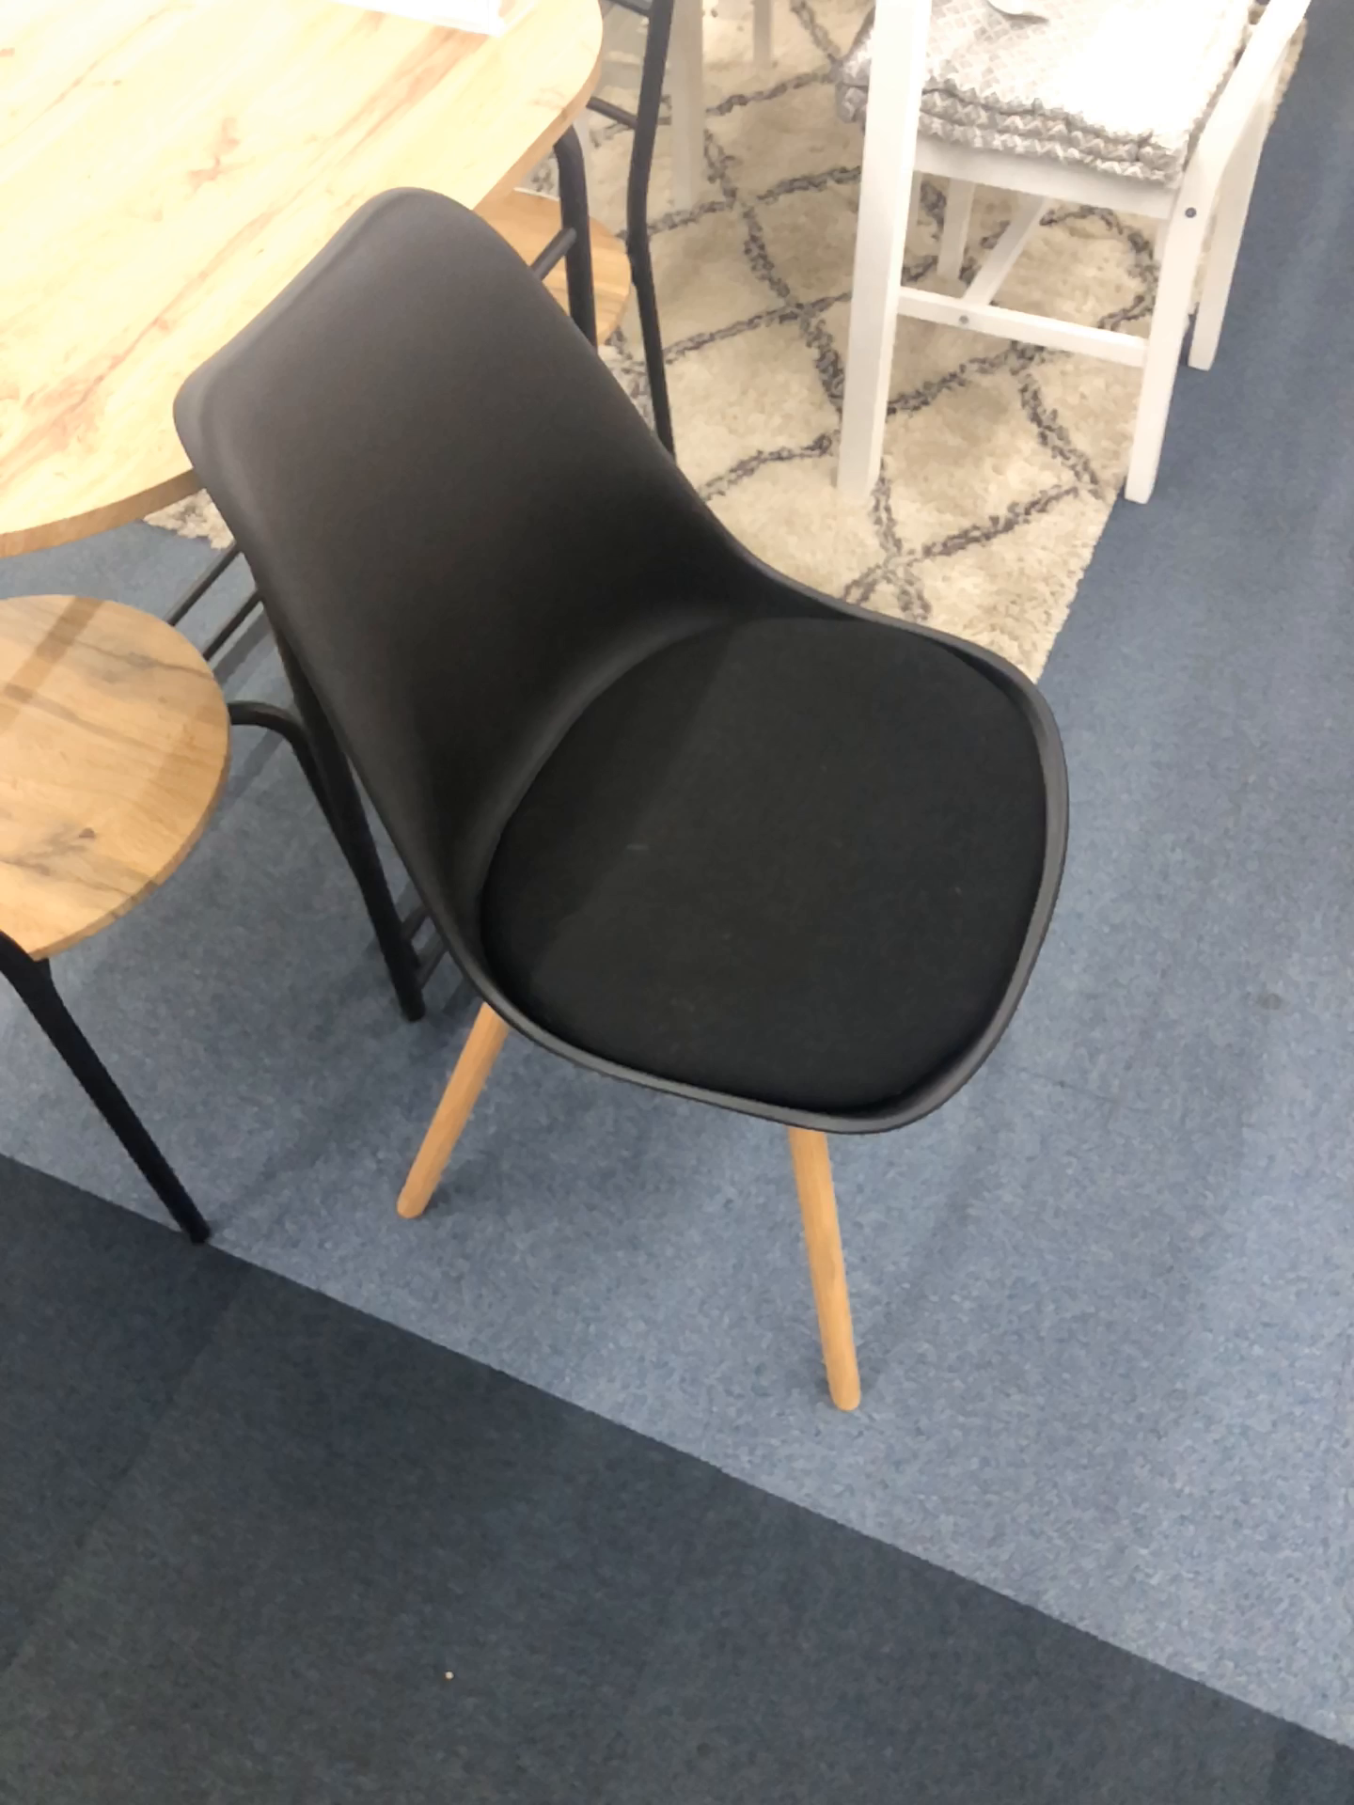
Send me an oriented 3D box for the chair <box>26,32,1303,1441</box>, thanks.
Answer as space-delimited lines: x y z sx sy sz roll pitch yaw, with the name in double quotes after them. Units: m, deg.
0.030 -0.048 1.120 0.500 0.858 0.491 20 58 15 "chair"
